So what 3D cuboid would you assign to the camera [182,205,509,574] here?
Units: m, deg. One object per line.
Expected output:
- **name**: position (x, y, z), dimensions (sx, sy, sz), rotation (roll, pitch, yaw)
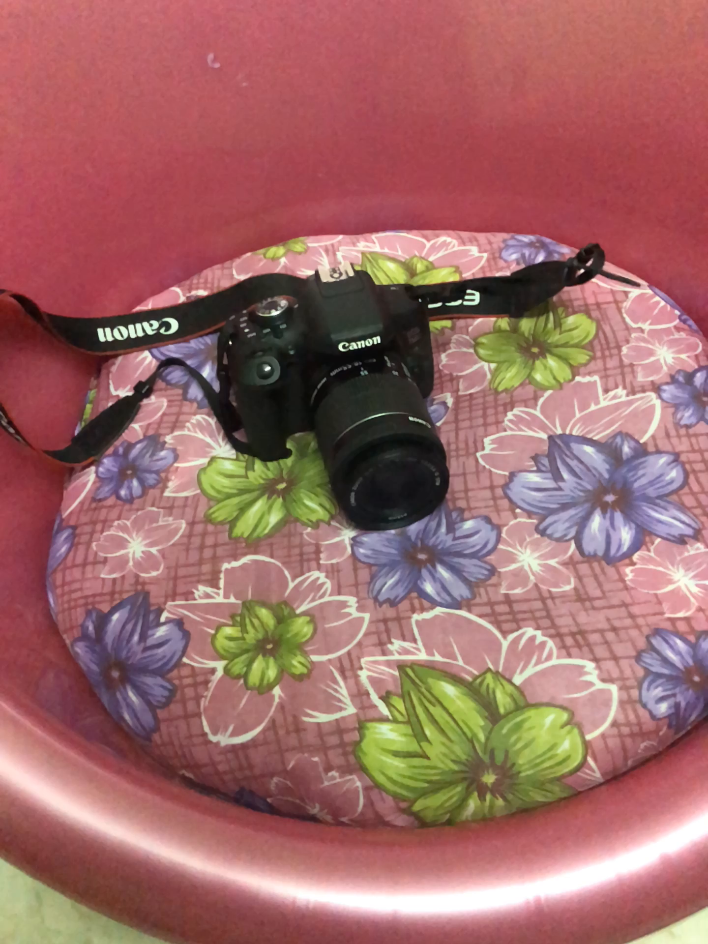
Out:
- **camera**: position (-0.010, -0.051, 0.442), dimensions (0.140, 0.099, 0.161), rotation (-13, 51, -4)
